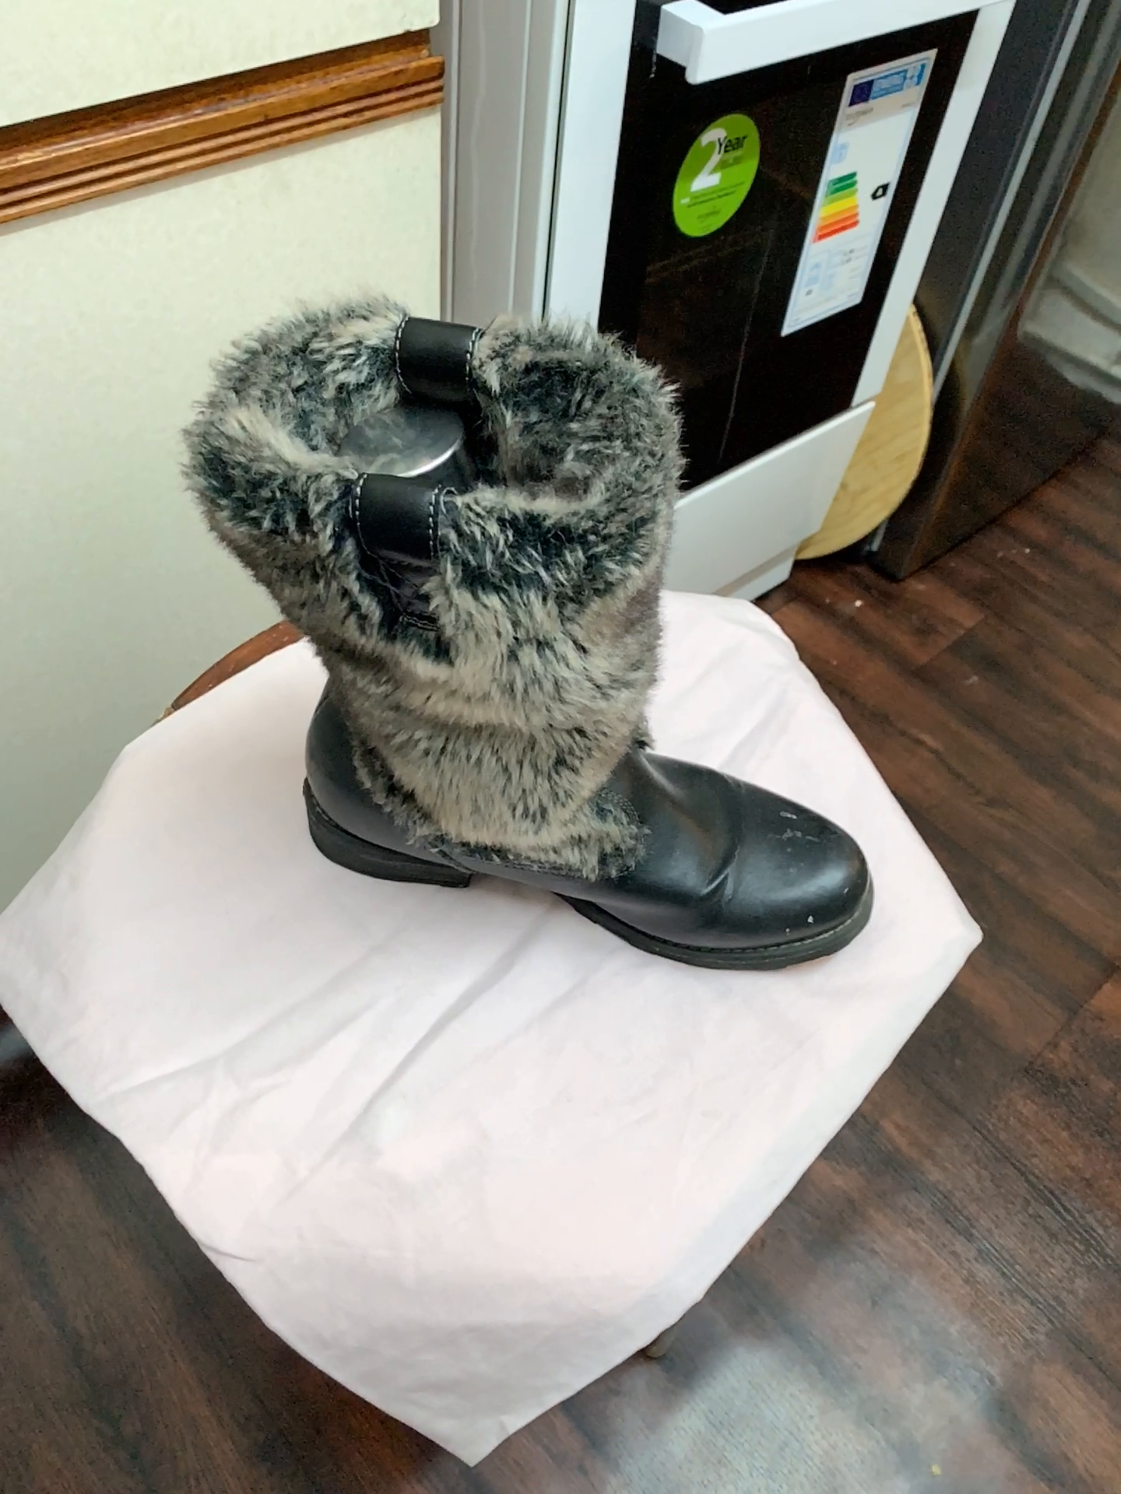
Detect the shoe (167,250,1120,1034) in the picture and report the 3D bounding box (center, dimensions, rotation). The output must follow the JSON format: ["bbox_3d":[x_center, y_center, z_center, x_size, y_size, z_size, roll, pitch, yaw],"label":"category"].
[{"bbox_3d":[0.022,-0.026,0.447,0.270,0.238,0.121,12,50,4],"label":"shoe"}]
